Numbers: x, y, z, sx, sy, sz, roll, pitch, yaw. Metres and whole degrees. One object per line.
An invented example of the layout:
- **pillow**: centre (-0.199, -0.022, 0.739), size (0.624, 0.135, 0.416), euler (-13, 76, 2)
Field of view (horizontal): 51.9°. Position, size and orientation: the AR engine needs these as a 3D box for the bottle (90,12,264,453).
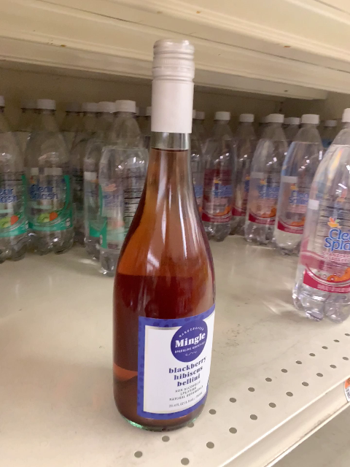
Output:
- **bottle**: centre (-0.009, 0.009, 0.288), size (0.090, 0.299, 0.080), euler (-7, 20, -30)
